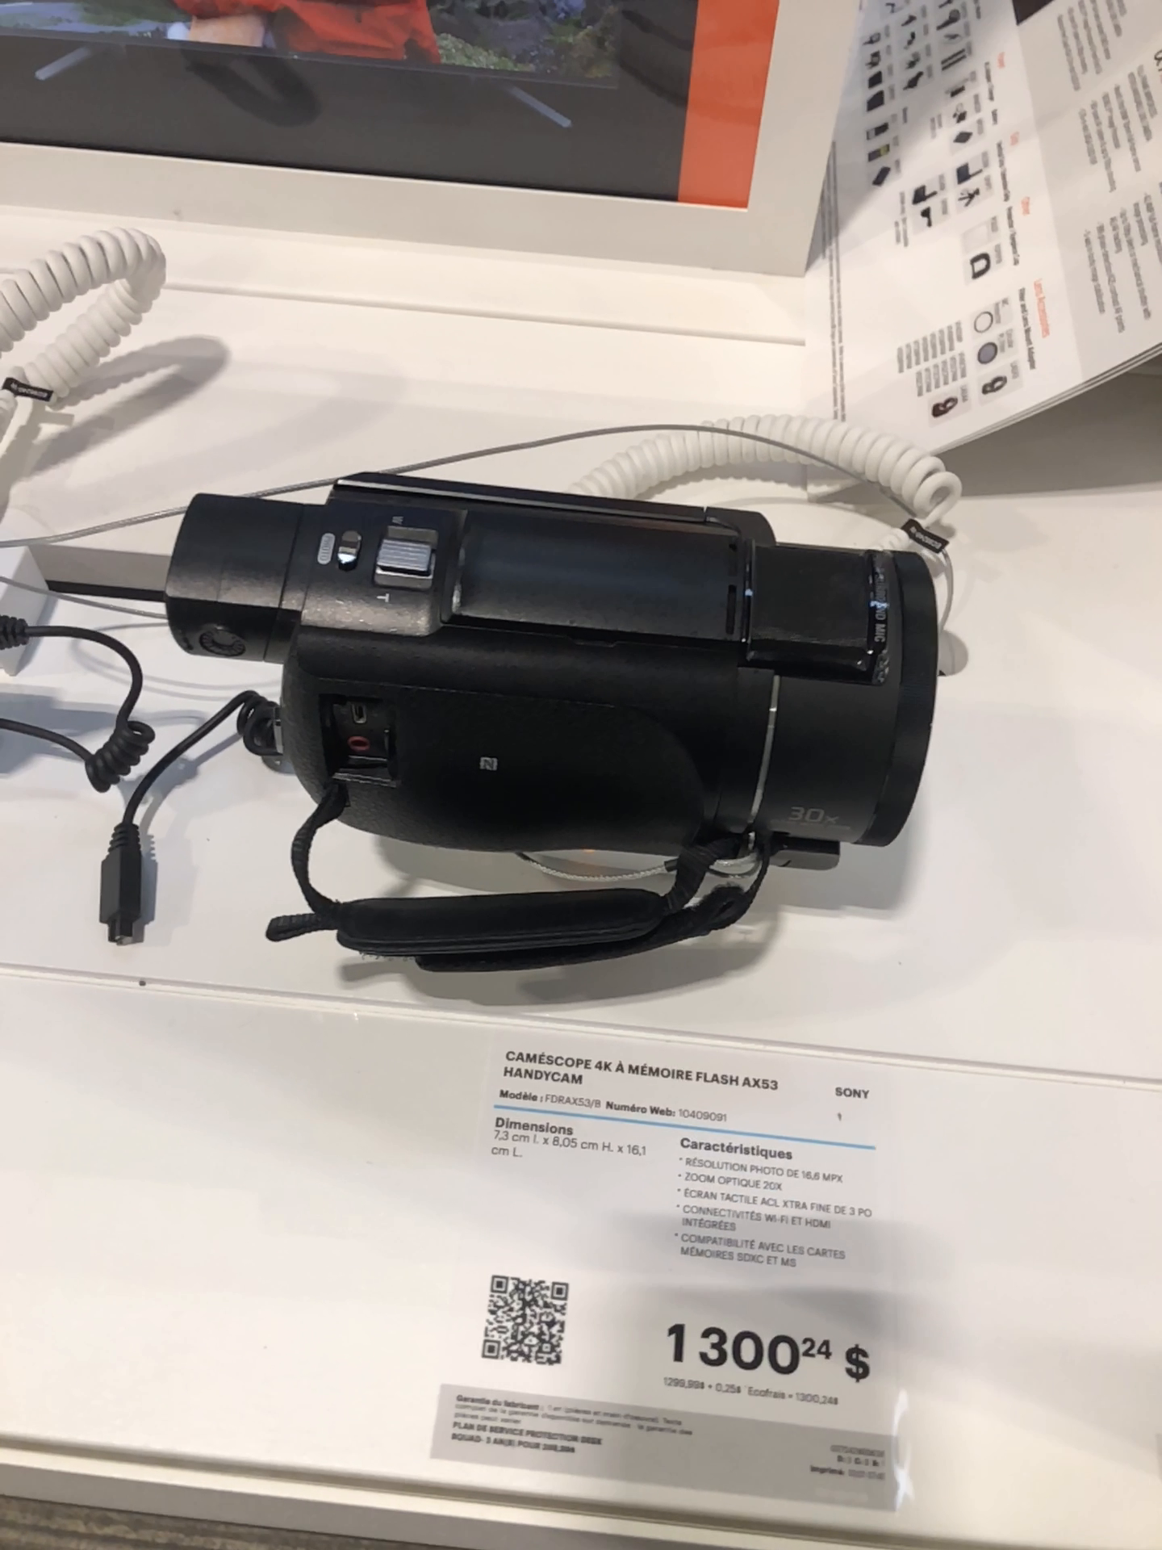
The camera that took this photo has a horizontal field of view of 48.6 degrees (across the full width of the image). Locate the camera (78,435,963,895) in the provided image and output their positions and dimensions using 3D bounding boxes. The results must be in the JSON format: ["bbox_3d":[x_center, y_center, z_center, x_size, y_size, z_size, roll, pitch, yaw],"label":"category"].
[{"bbox_3d":[-0.011,-0.023,0.288,0.168,0.066,0.061,5,56,1],"label":"camera"}]
